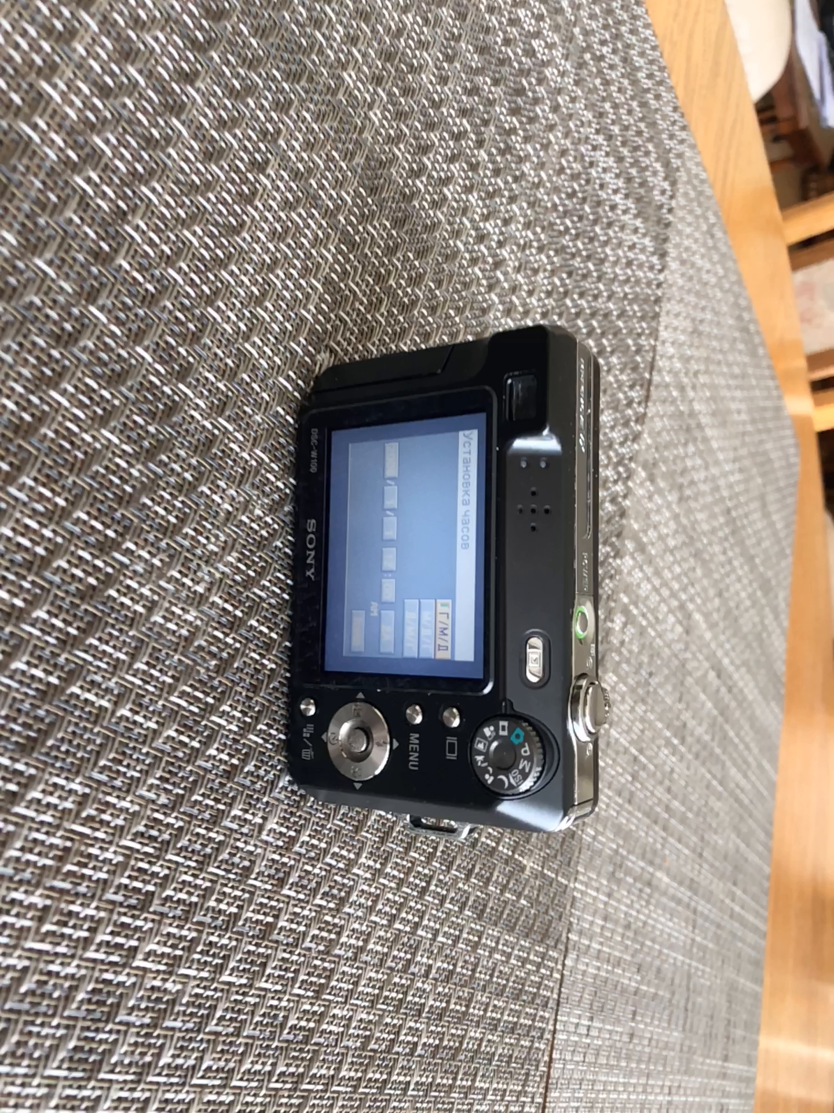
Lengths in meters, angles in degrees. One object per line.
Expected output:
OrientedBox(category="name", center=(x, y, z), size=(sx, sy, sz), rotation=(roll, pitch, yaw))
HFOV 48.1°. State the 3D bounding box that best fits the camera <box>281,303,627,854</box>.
OrientedBox(category="camera", center=(0.010, 0.005, 0.196), size=(0.049, 0.052, 0.095), rotation=(10, 80, -56))
